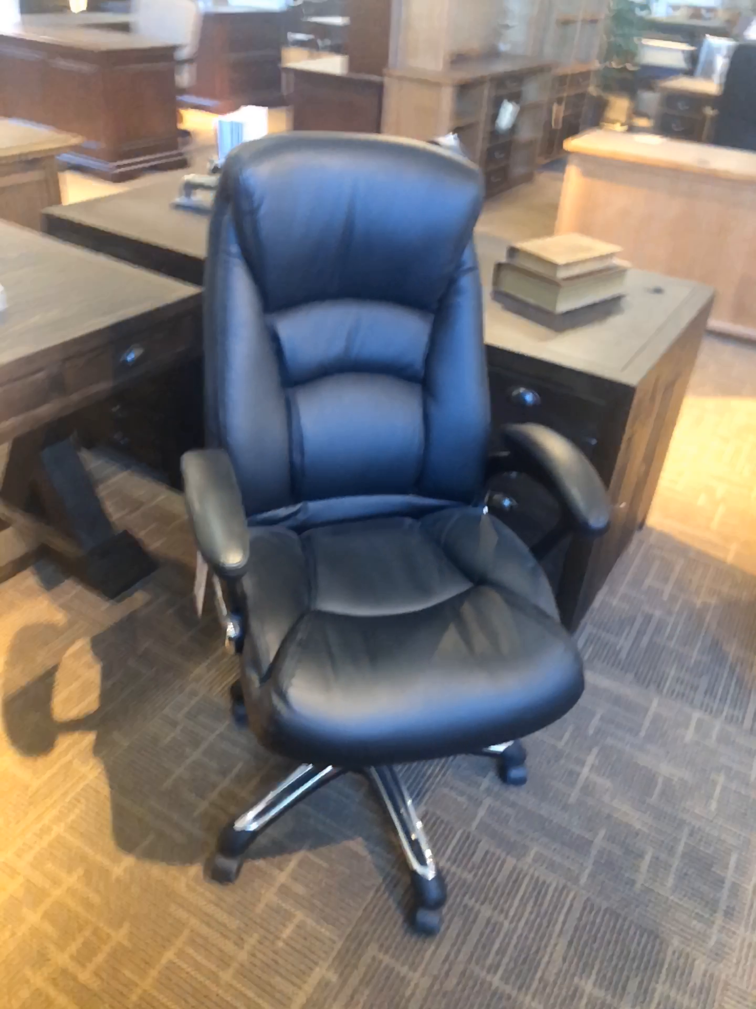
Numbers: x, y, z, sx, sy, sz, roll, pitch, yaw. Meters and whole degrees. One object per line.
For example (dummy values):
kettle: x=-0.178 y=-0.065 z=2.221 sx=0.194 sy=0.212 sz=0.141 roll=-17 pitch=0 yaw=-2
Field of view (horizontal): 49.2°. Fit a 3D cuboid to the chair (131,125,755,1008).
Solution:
chair: x=0.019 y=0.065 z=1.360 sx=0.701 sy=1.119 sz=0.771 roll=-5 pitch=35 yaw=-15
